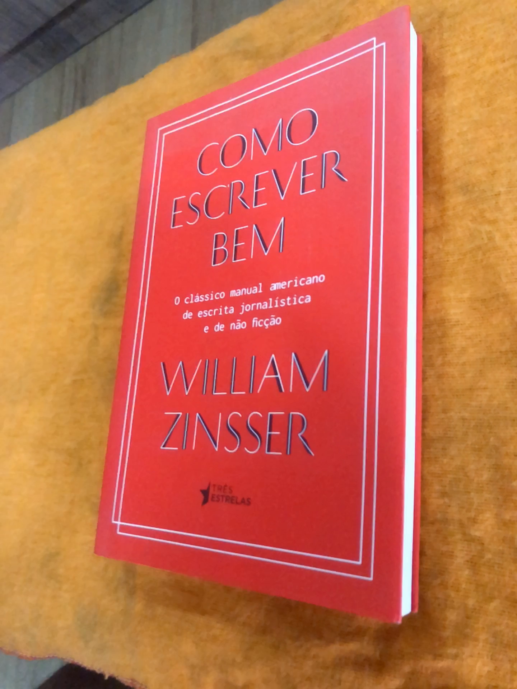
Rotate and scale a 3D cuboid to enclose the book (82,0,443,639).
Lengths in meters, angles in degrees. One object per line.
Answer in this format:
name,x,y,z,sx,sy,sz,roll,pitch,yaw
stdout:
book,-0.003,-0.013,0.219,0.140,0.020,0.195,-5,75,37
